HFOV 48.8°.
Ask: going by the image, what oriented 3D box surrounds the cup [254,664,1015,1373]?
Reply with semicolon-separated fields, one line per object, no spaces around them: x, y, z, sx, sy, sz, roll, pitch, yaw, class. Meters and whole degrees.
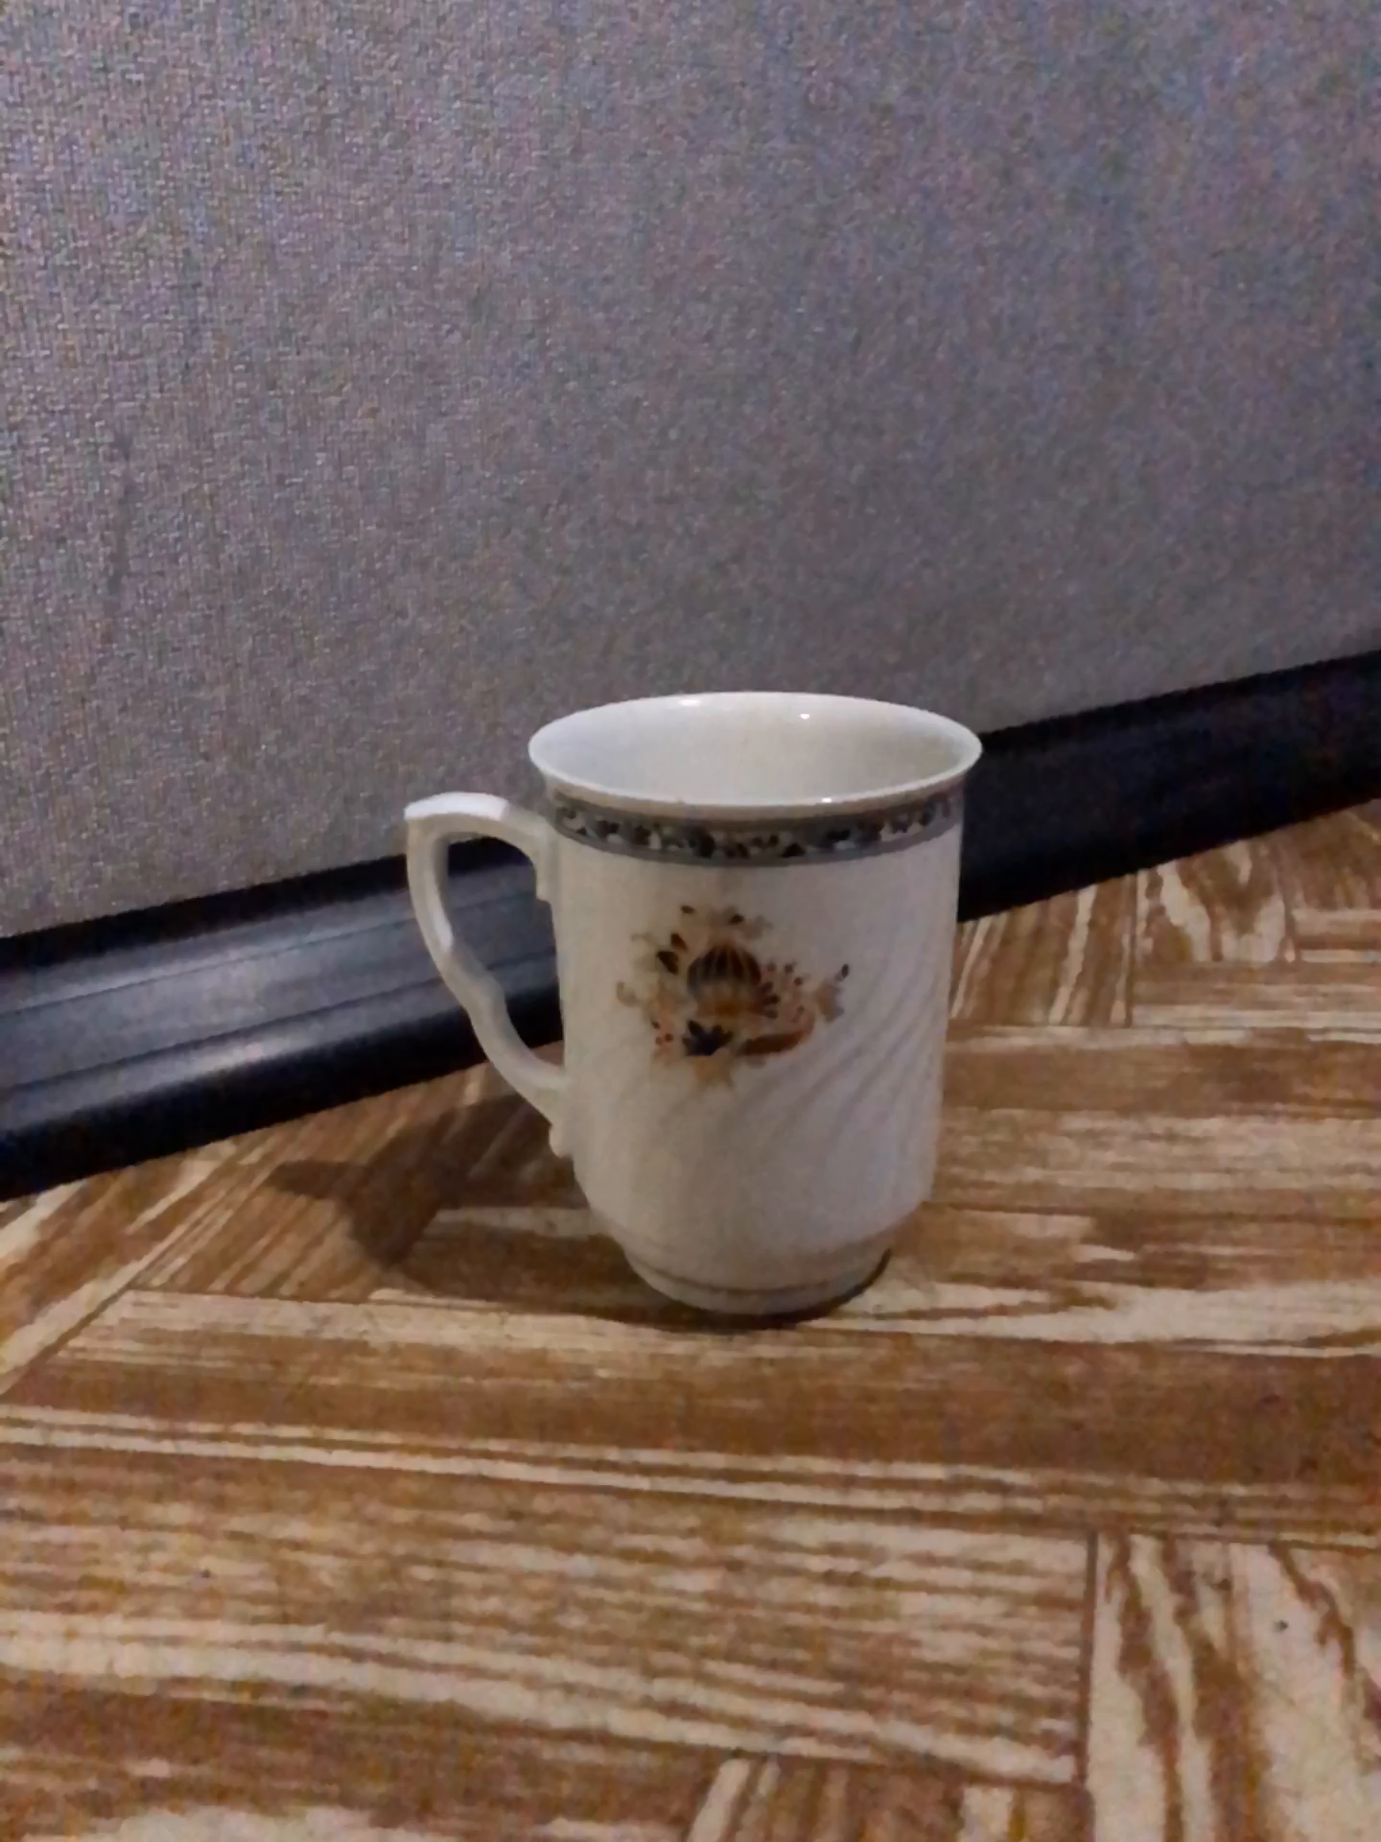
-0.007;0.010;0.297;0.118;0.099;0.078;8;22;23;cup
